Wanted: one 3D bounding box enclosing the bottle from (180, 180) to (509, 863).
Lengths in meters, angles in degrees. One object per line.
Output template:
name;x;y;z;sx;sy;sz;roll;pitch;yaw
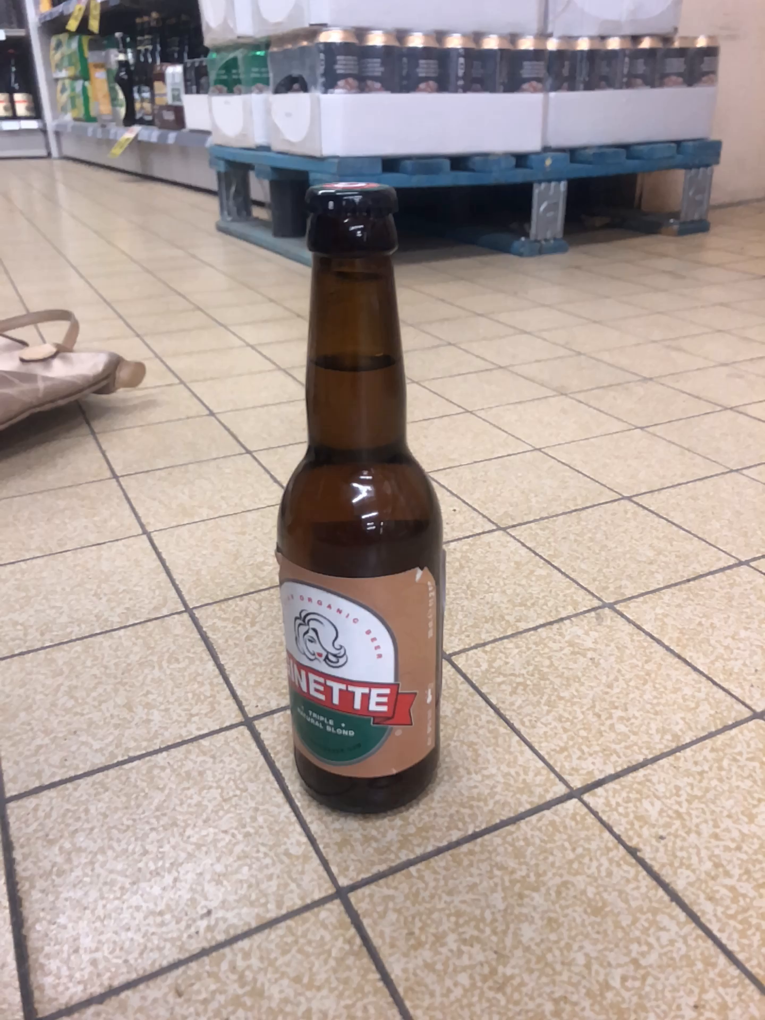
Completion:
bottle;-0.009;0.005;0.296;0.070;0.219;0.070;0;25;0
